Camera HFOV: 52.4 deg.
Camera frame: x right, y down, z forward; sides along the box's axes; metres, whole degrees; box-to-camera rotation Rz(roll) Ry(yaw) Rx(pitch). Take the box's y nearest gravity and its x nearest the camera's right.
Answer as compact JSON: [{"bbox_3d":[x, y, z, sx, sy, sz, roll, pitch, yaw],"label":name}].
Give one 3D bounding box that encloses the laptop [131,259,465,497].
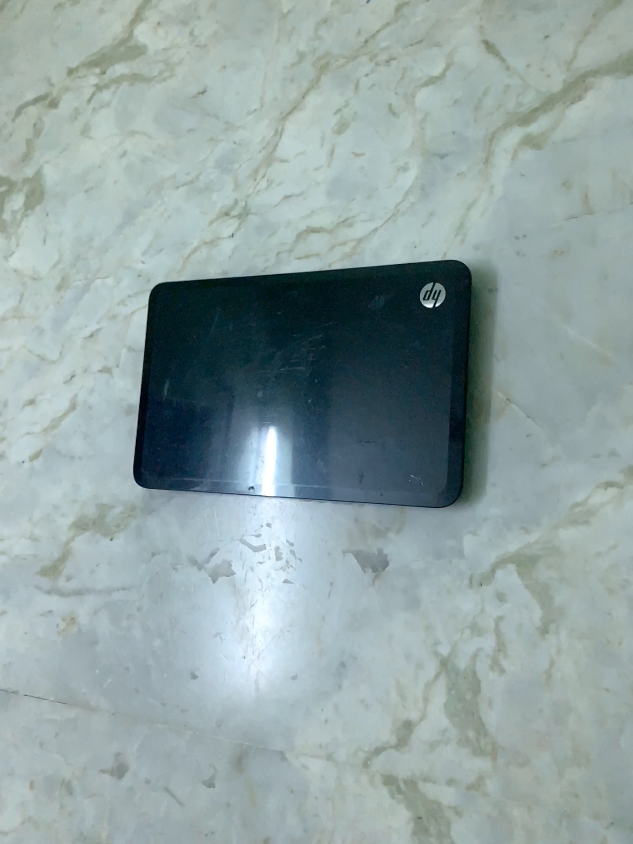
[{"bbox_3d":[-0.026,-0.045,0.649,0.334,0.022,0.221,0,75,23],"label":"laptop"}]
